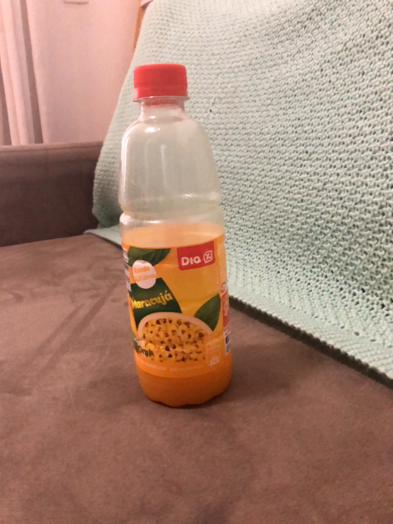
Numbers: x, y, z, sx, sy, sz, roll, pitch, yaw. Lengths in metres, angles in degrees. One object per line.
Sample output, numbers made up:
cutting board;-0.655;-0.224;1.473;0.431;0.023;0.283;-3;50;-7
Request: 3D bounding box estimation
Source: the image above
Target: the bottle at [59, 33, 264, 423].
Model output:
bottle;-0.013;-0.020;0.273;0.080;0.199;0.080;-3;15;1
